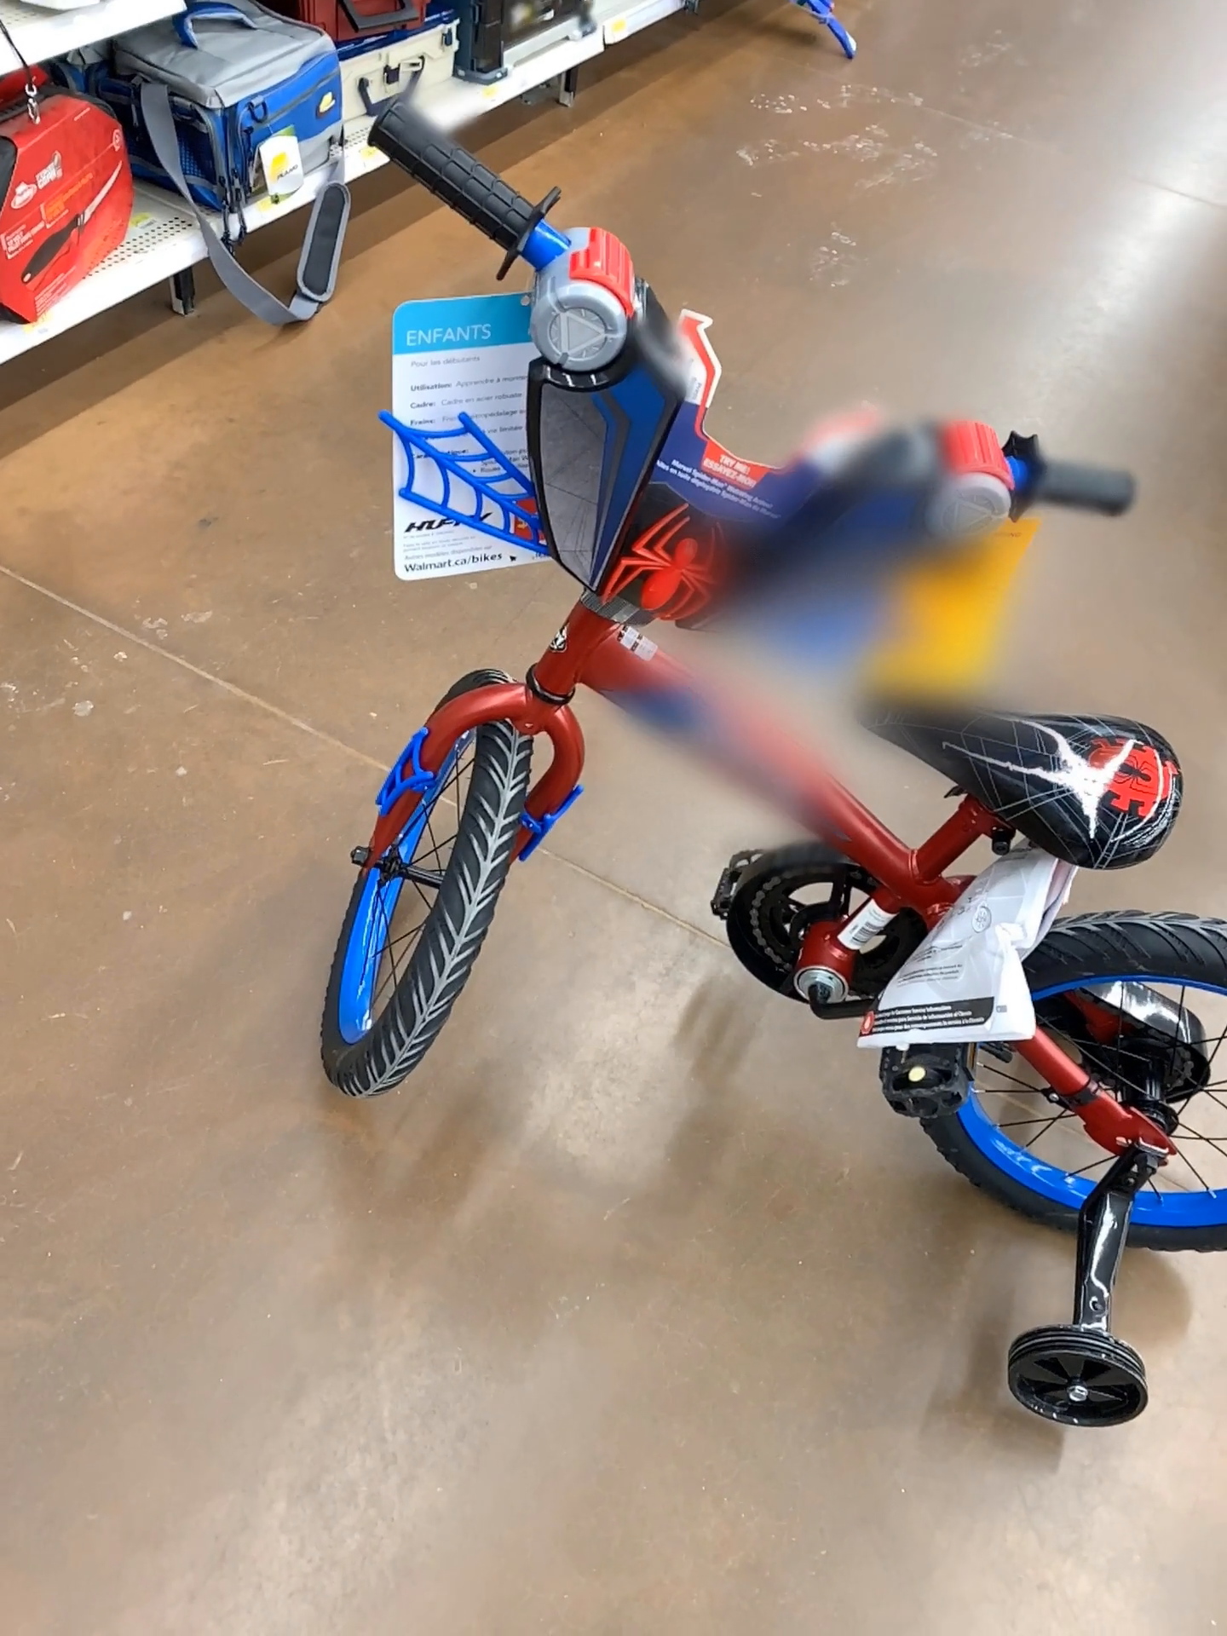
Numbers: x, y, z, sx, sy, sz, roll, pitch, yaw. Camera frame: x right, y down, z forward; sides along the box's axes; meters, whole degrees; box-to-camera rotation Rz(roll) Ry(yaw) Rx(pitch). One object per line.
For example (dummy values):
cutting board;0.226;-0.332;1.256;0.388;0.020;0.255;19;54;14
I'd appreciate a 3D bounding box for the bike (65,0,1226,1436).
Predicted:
bike;0.157;0.004;0.770;0.565;0.709;0.477;10;48;0
